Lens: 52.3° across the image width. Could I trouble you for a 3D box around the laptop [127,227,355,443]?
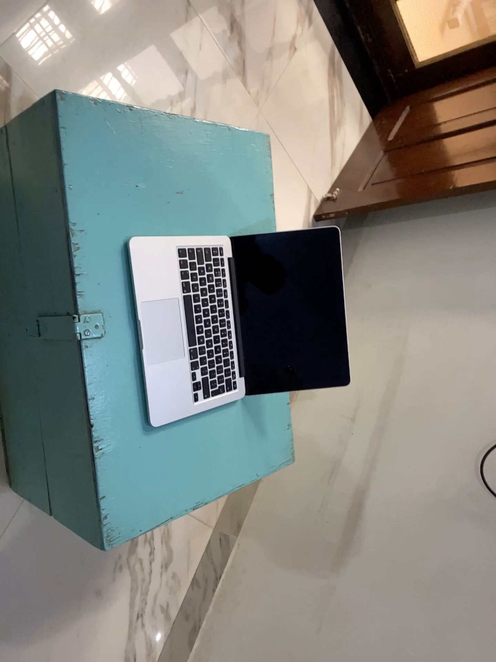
[{"bbox_3d":[0.010,-0.018,0.909,0.379,0.148,0.313,-12,99,-45],"label":"laptop"}]
